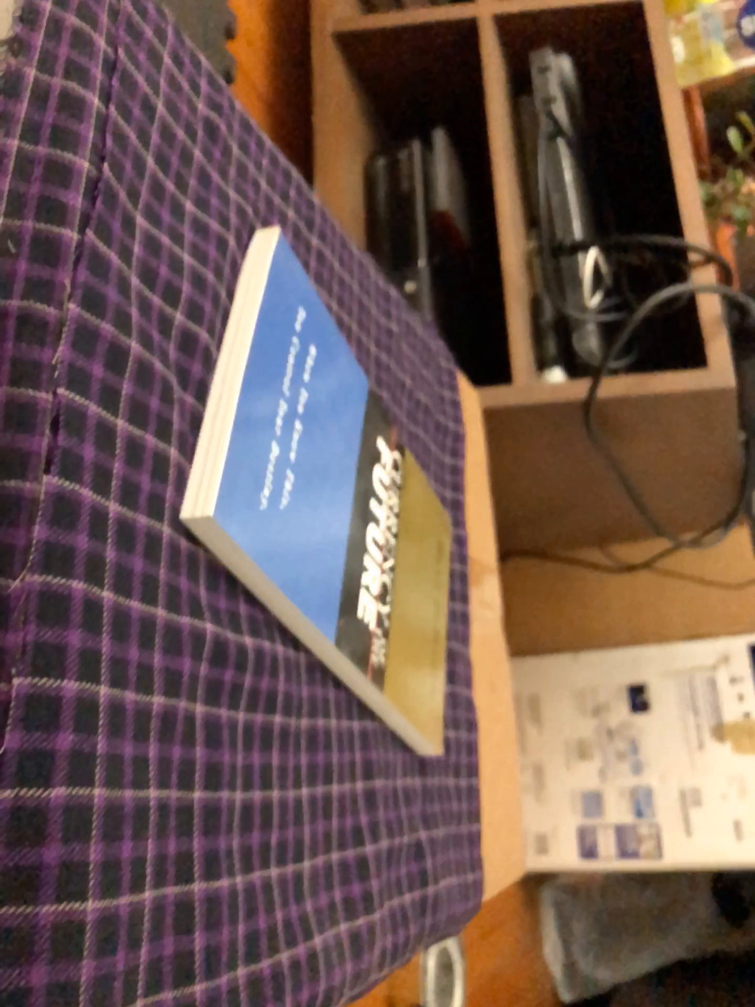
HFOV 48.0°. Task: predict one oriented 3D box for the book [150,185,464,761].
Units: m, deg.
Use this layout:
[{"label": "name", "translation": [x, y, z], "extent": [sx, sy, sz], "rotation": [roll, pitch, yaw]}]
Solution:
[{"label": "book", "translation": [-0.008, 0.001, 0.369], "extent": [0.220, 0.020, 0.150], "rotation": [55, 32, -47]}]
